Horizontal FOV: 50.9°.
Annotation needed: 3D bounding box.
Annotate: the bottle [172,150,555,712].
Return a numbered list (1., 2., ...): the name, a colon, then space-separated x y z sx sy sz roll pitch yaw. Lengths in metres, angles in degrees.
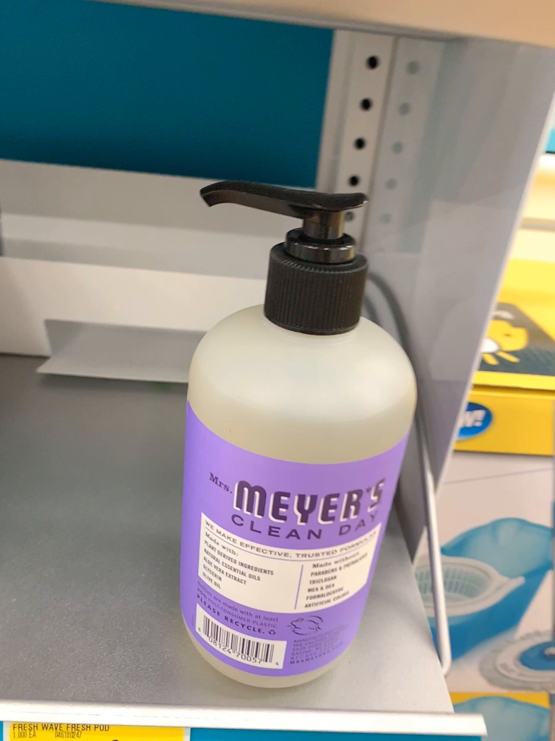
1. bottle: 0.008 0.022 0.186 0.080 0.159 0.070 1 28 -11
